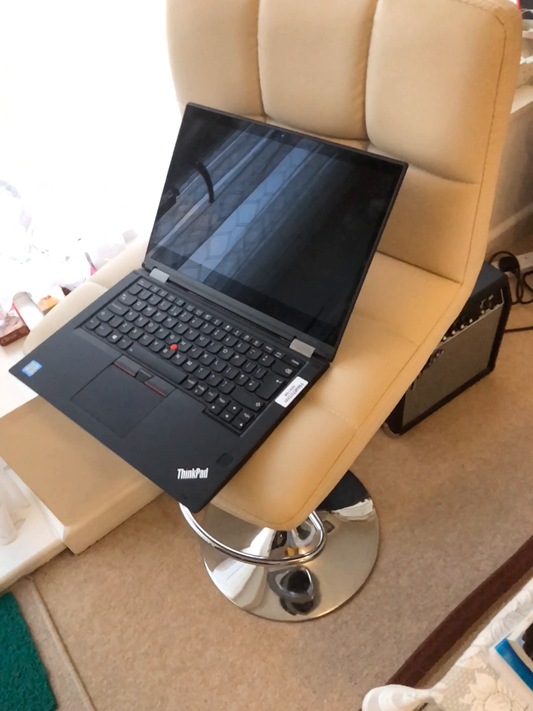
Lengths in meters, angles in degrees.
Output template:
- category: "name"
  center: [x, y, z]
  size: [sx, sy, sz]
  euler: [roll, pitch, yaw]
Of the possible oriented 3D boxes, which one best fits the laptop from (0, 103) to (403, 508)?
- category: "laptop"
  center: [-0.085, -0.089, 0.648]
  size: [0.309, 0.165, 0.367]
  euler: [28, 59, 29]
